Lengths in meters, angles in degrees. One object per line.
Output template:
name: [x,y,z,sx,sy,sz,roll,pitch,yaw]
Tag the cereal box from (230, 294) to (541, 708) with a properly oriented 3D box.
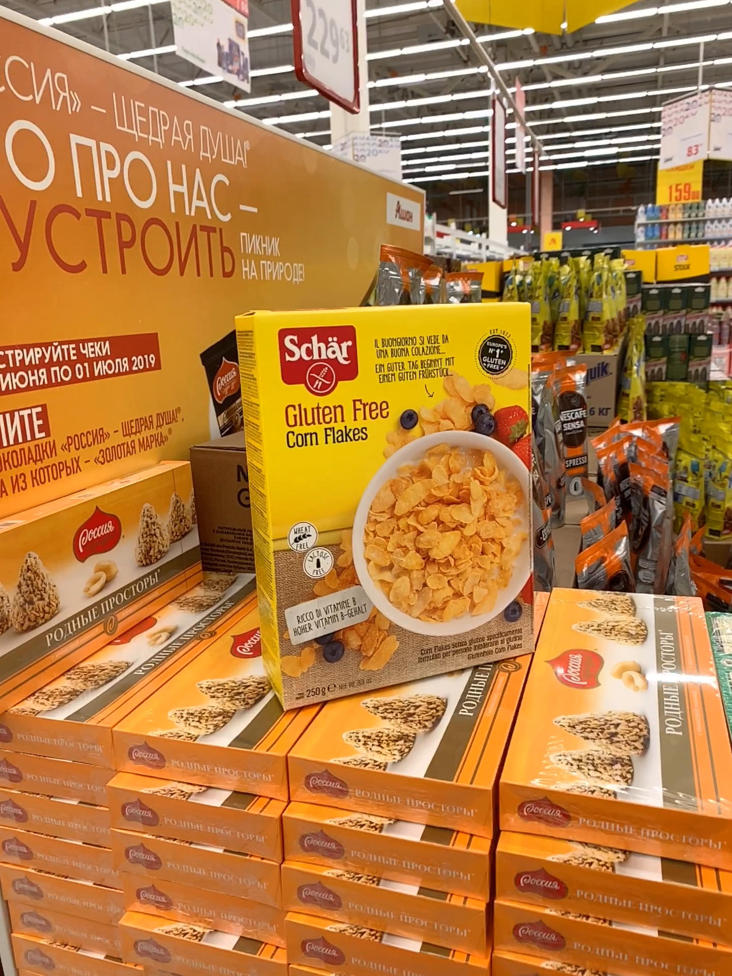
cereal box: [0.020,0.001,0.532,0.200,0.259,0.060,-8,14,-20]
